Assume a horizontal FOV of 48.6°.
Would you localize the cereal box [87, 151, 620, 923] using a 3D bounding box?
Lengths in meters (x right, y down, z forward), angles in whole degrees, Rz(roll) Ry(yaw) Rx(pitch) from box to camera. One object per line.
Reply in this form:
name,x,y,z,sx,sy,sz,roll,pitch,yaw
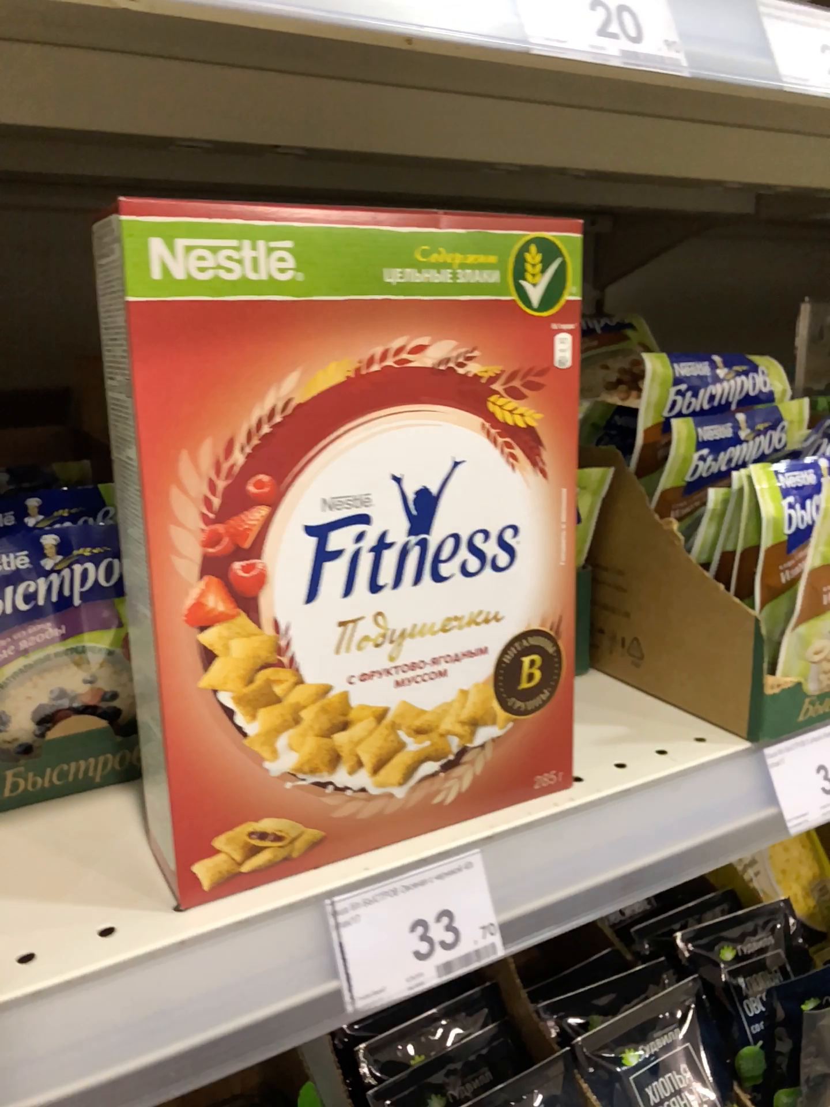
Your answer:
cereal box,-0.012,-0.011,0.343,0.180,0.239,0.050,-8,15,-29
